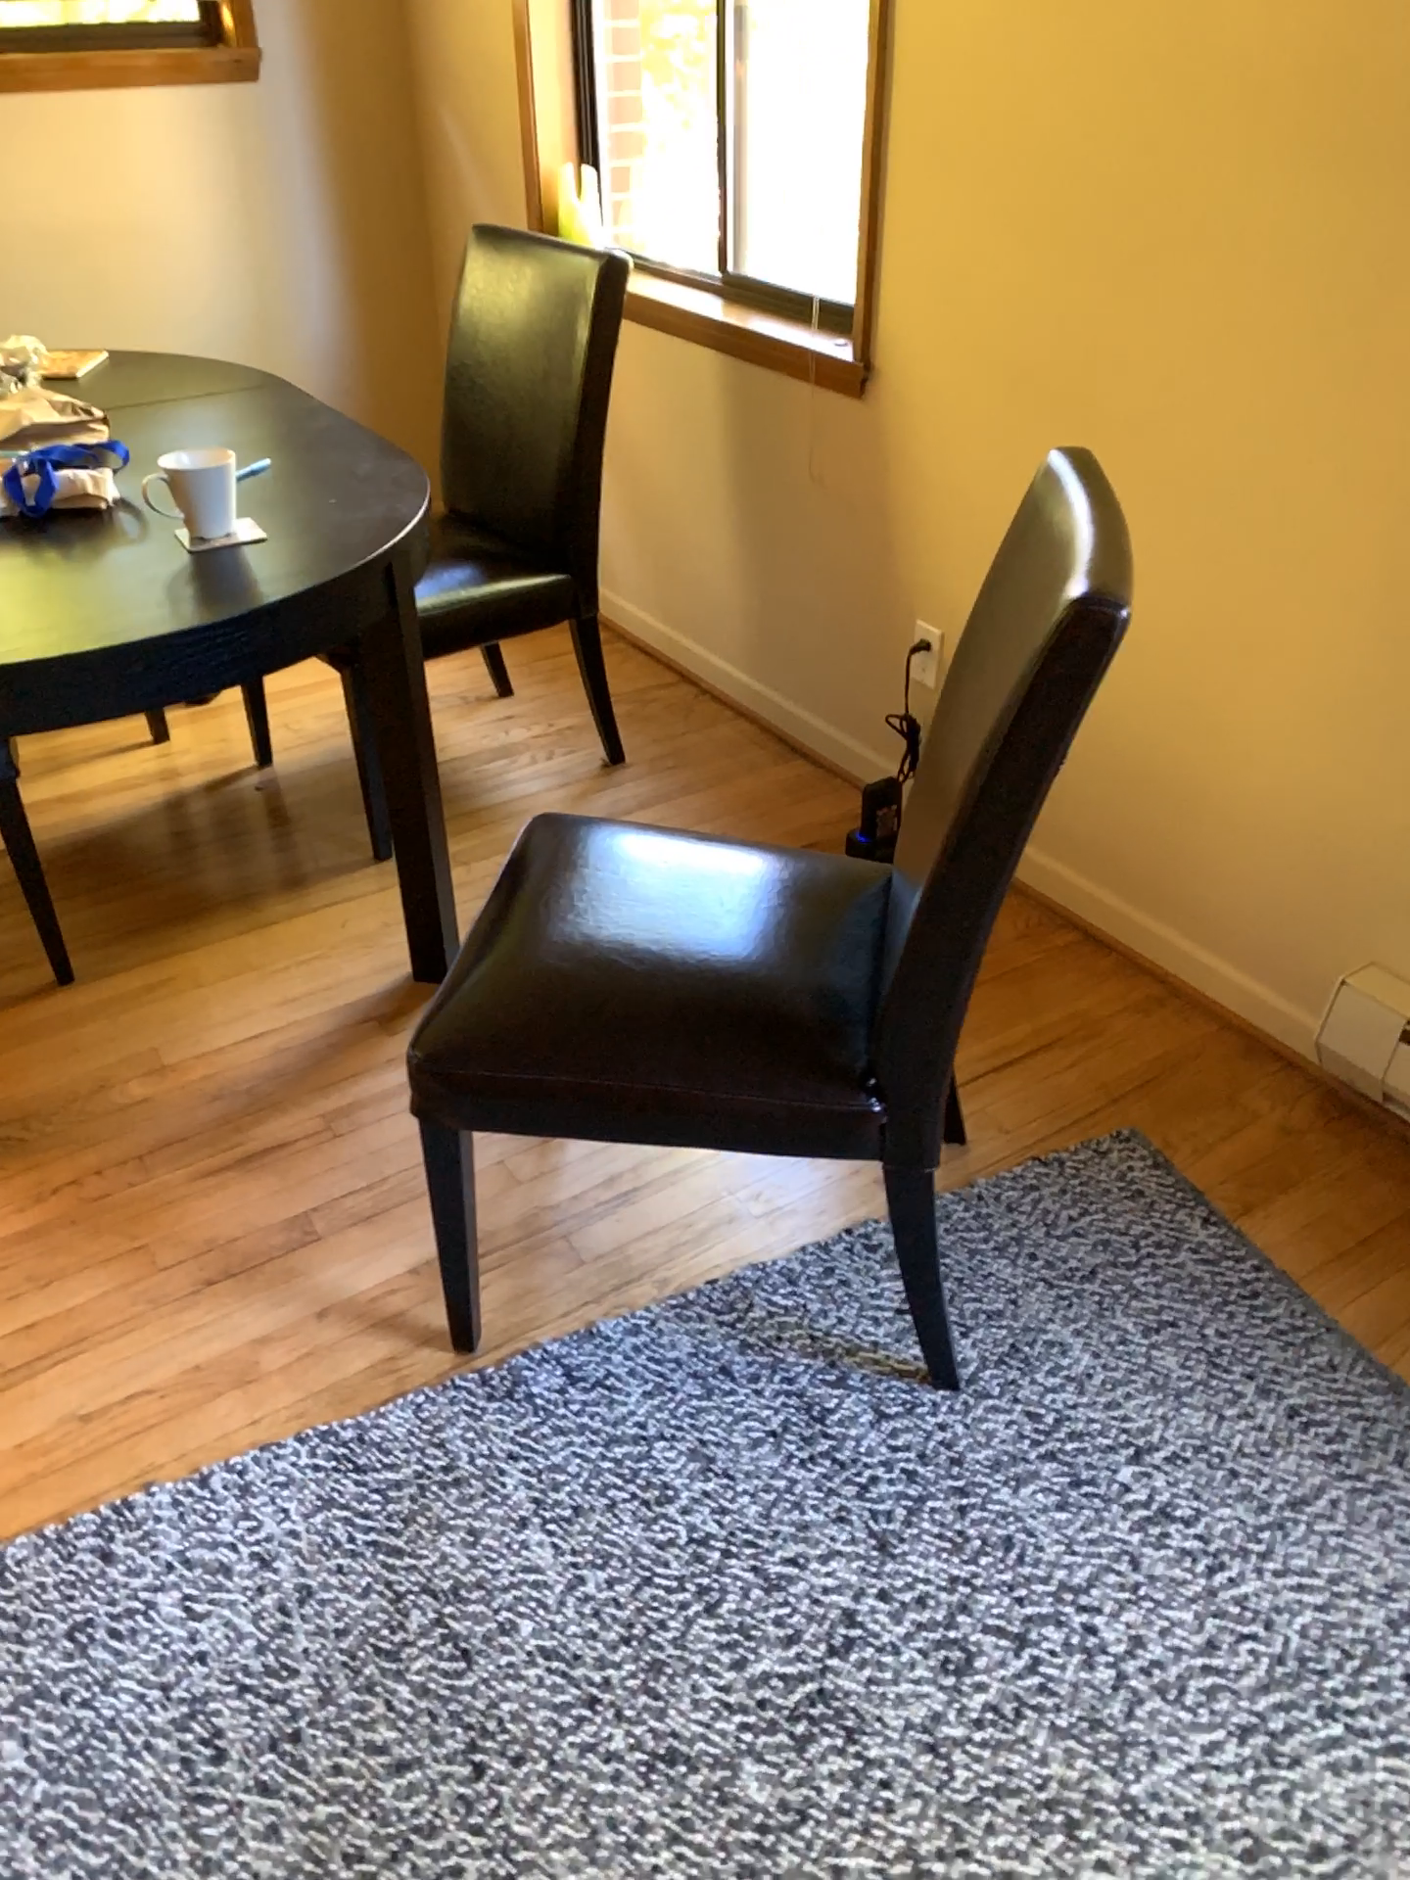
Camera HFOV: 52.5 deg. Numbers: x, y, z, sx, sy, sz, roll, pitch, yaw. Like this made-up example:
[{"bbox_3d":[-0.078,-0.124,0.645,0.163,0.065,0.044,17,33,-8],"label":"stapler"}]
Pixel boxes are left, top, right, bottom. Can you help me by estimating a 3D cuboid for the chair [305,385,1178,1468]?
[{"bbox_3d":[0.058,-0.009,1.610,0.670,1.034,0.563,4,34,7],"label":"chair"}]
